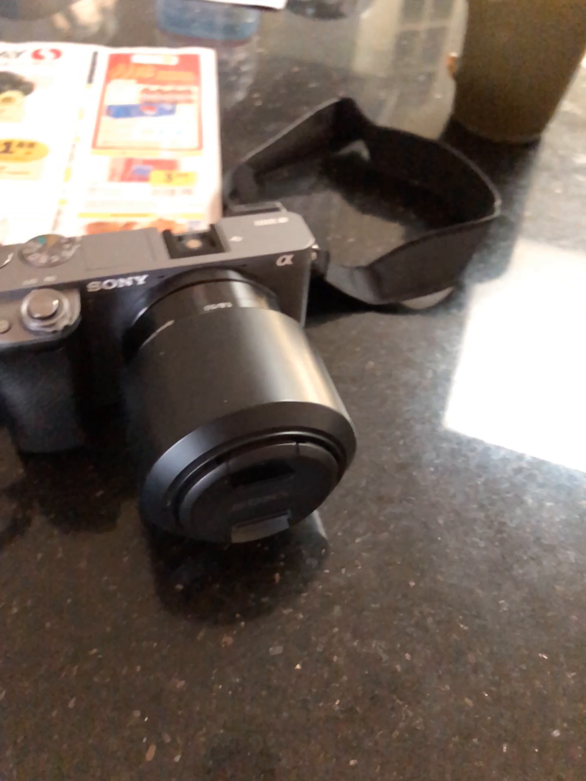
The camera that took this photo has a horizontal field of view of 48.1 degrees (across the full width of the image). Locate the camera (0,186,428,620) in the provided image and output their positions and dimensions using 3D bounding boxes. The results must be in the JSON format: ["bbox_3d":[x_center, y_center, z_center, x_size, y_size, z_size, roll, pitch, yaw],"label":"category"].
[{"bbox_3d":[-0.043,-0.003,0.231,0.130,0.070,0.110,-12,52,-15],"label":"camera"}]
